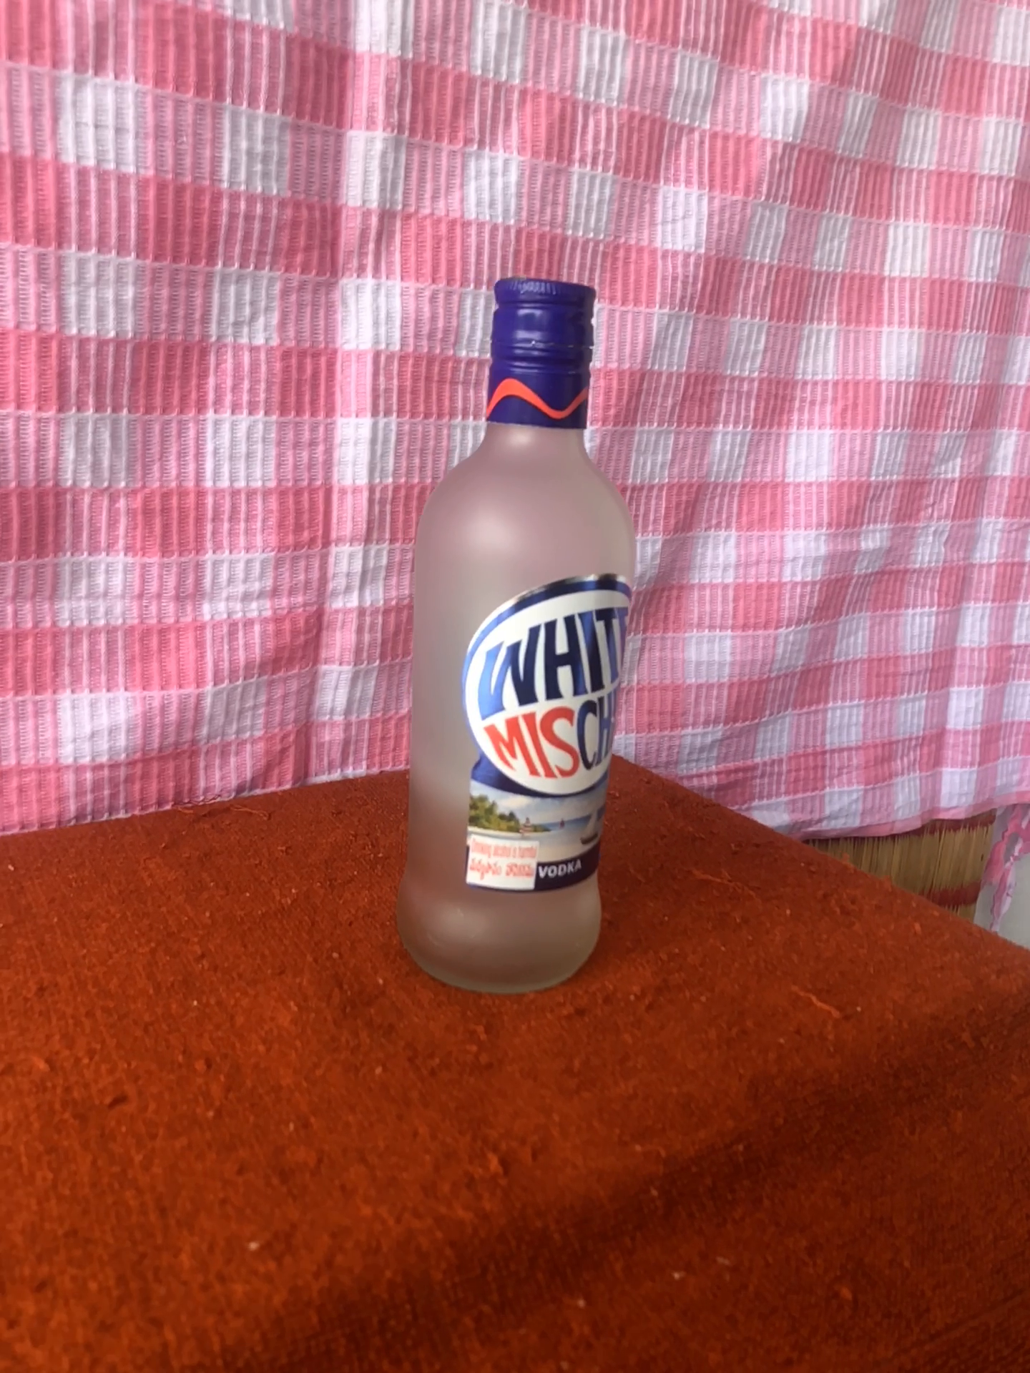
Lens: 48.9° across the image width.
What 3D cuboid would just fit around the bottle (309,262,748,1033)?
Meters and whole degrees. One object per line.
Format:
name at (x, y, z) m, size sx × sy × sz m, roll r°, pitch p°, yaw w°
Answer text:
bottle at (-0.002, -0.013, 0.334) m, size 0.080 × 0.199 × 0.070 m, roll -4°, pitch 19°, yaw -35°
